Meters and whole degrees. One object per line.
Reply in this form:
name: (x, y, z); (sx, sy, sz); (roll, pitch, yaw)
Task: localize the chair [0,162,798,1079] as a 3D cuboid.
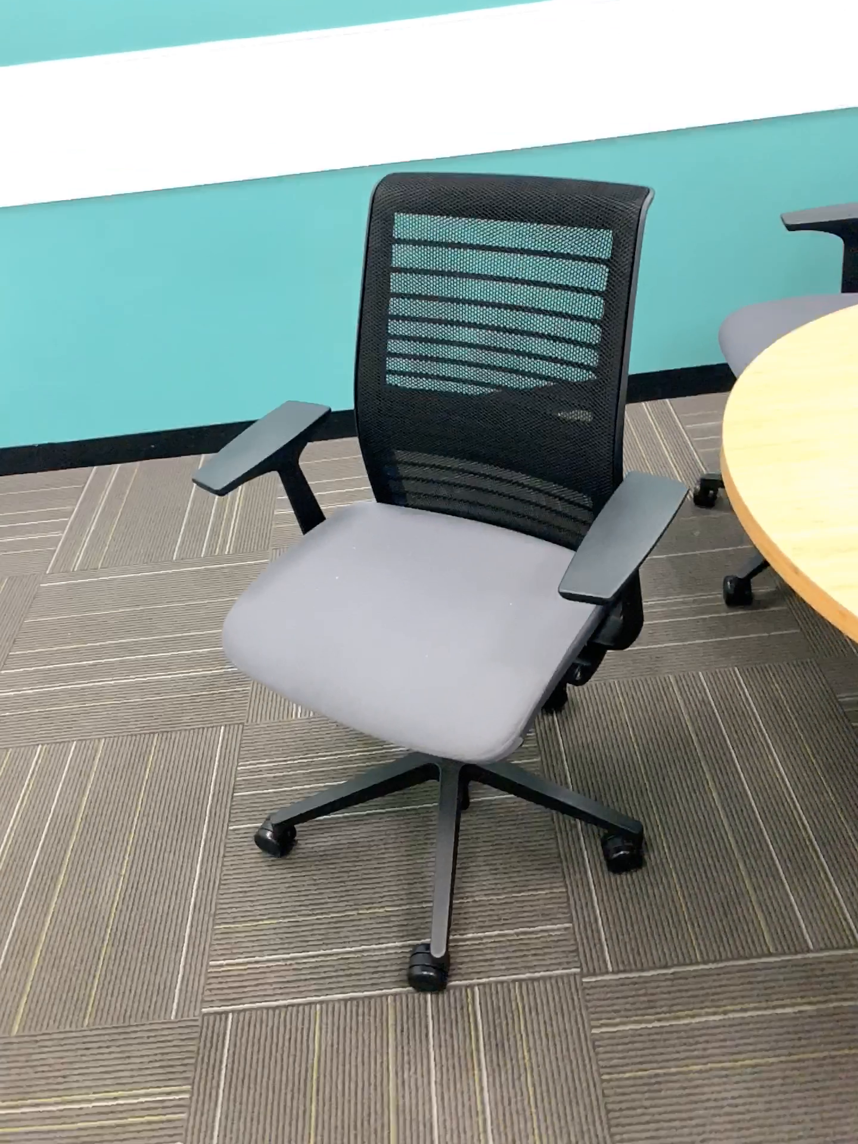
chair: (0.042, 0.013, 1.373); (0.732, 0.984, 0.843); (13, 43, 24)
